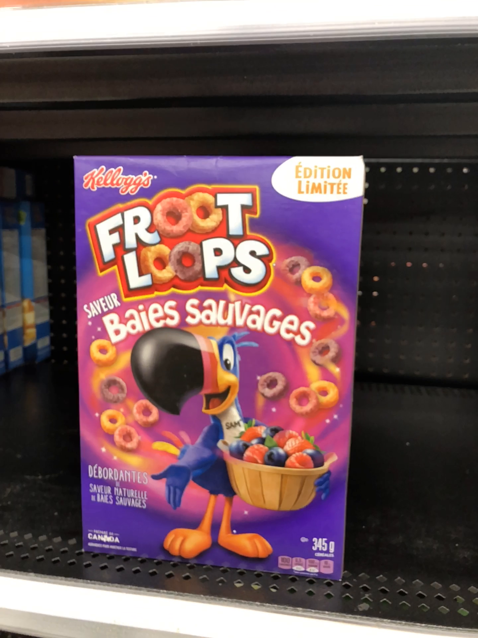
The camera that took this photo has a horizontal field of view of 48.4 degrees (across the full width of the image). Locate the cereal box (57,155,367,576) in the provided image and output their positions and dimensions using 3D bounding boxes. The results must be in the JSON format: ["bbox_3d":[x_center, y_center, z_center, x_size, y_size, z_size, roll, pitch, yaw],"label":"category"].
[{"bbox_3d":[-0.021,0.031,0.398,0.210,0.289,0.050,3,9,10],"label":"cereal box"}]
